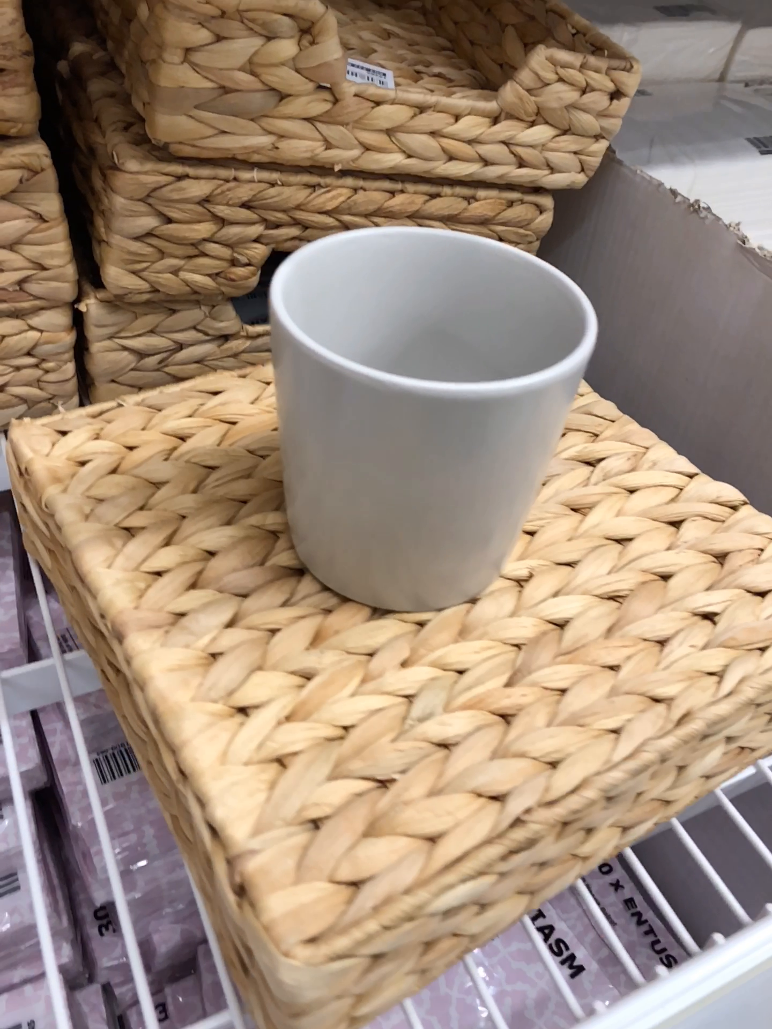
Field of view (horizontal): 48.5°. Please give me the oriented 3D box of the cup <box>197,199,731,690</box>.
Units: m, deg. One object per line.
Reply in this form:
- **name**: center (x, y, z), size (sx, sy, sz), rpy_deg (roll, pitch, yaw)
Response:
- **cup**: center (0.019, -0.030, 0.268), size (0.120, 0.090, 0.090), rpy_deg (-21, 47, -28)
